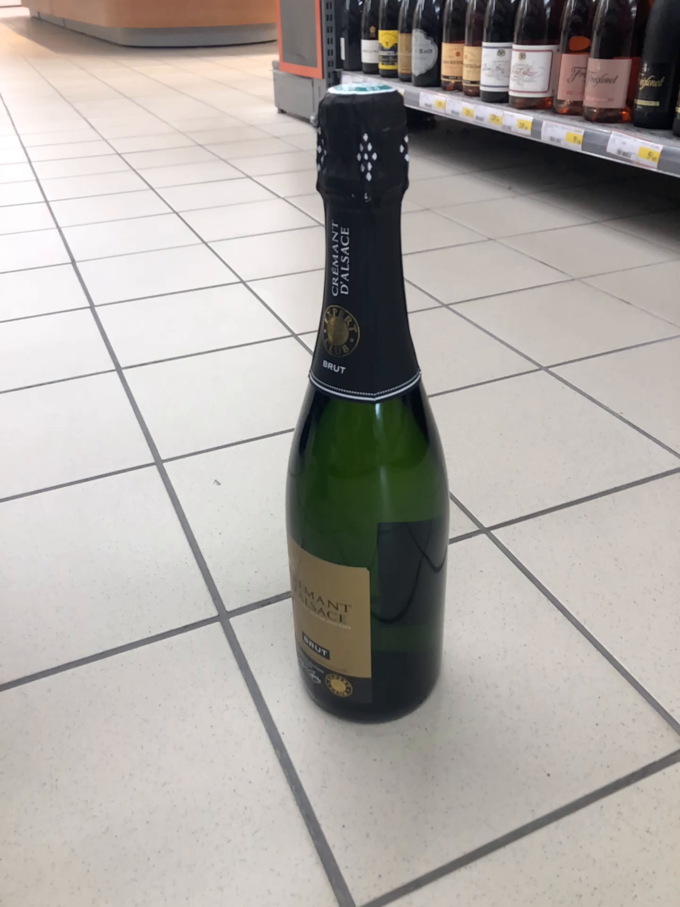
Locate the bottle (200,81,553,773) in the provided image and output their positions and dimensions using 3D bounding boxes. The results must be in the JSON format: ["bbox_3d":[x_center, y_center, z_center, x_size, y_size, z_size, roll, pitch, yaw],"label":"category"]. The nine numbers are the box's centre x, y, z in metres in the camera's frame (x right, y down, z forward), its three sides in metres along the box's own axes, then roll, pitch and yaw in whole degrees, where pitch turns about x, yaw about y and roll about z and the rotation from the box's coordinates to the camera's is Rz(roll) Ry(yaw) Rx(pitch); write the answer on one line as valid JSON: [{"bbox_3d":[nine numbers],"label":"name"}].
[{"bbox_3d":[0.016,-0.003,0.363,0.090,0.308,0.100,-25,38,-34],"label":"bottle"}]
